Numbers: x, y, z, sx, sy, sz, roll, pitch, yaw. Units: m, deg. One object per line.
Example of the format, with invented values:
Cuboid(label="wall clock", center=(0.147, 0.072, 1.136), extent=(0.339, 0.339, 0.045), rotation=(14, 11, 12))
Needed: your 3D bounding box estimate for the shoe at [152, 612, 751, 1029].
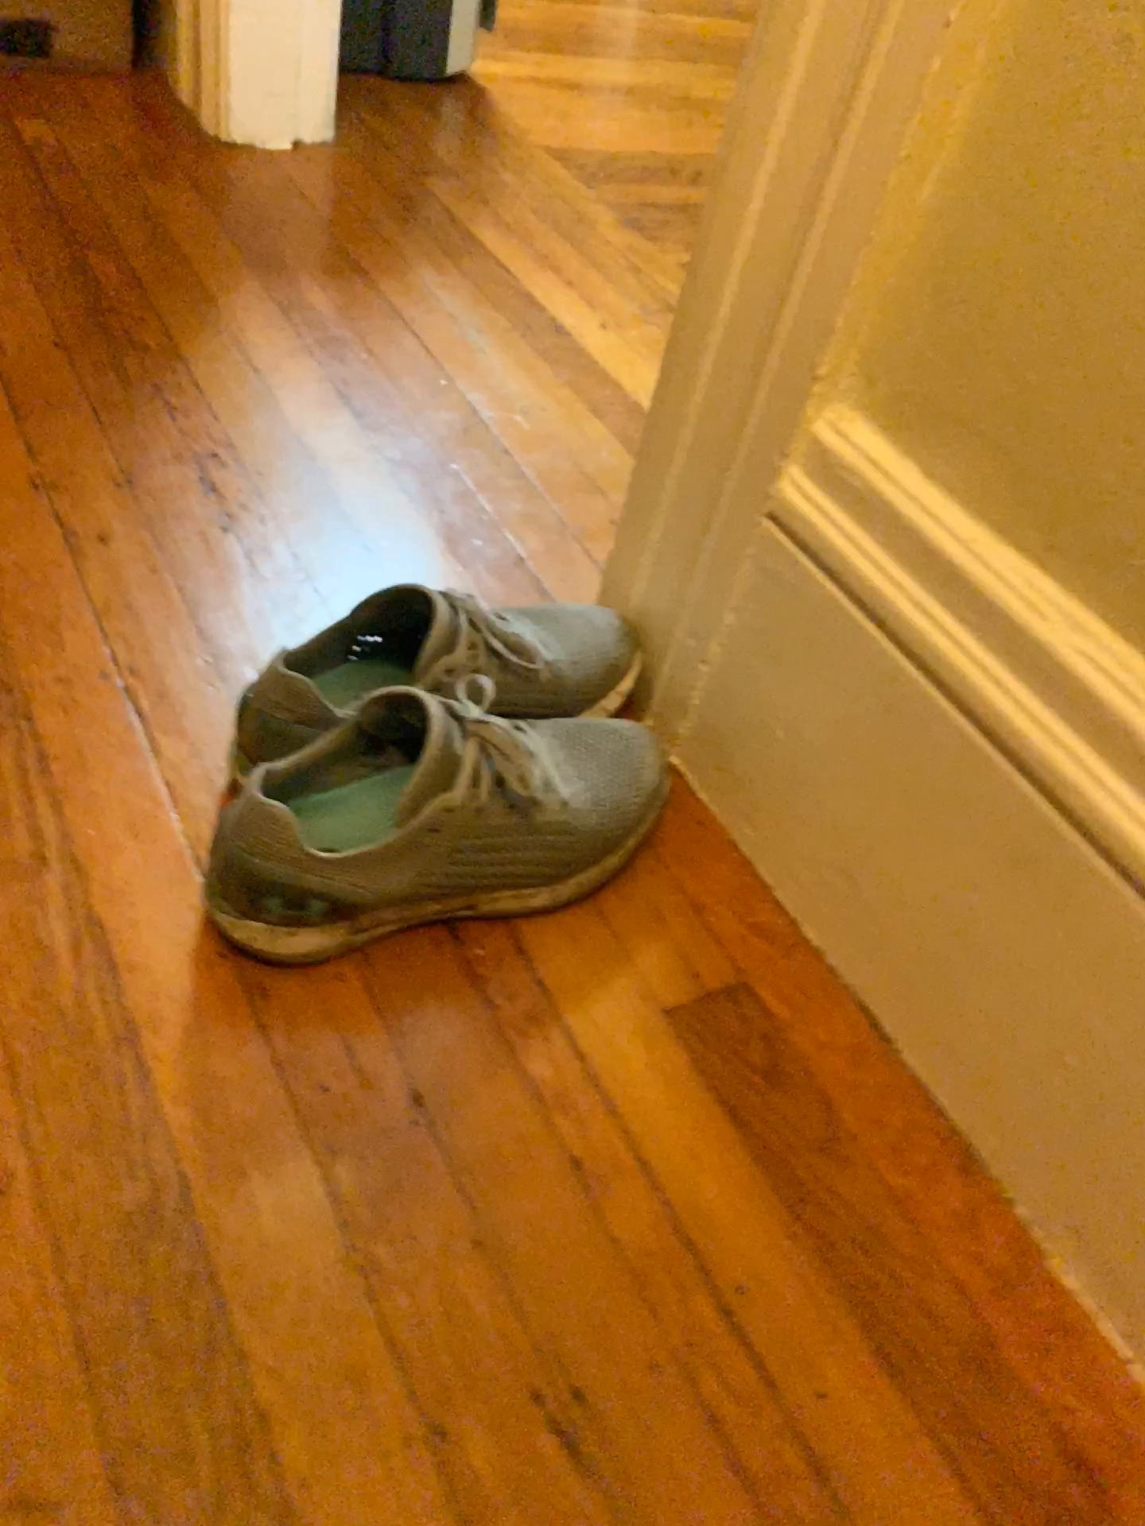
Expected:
Cuboid(label="shoe", center=(-0.058, 0.018, 0.600), extent=(0.270, 0.090, 0.110), rotation=(-17, 53, -30))

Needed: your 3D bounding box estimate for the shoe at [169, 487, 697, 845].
Cuboid(label="shoe", center=(-0.072, -0.064, 0.650), extent=(0.261, 0.080, 0.110), rotation=(-22, 55, -33))
